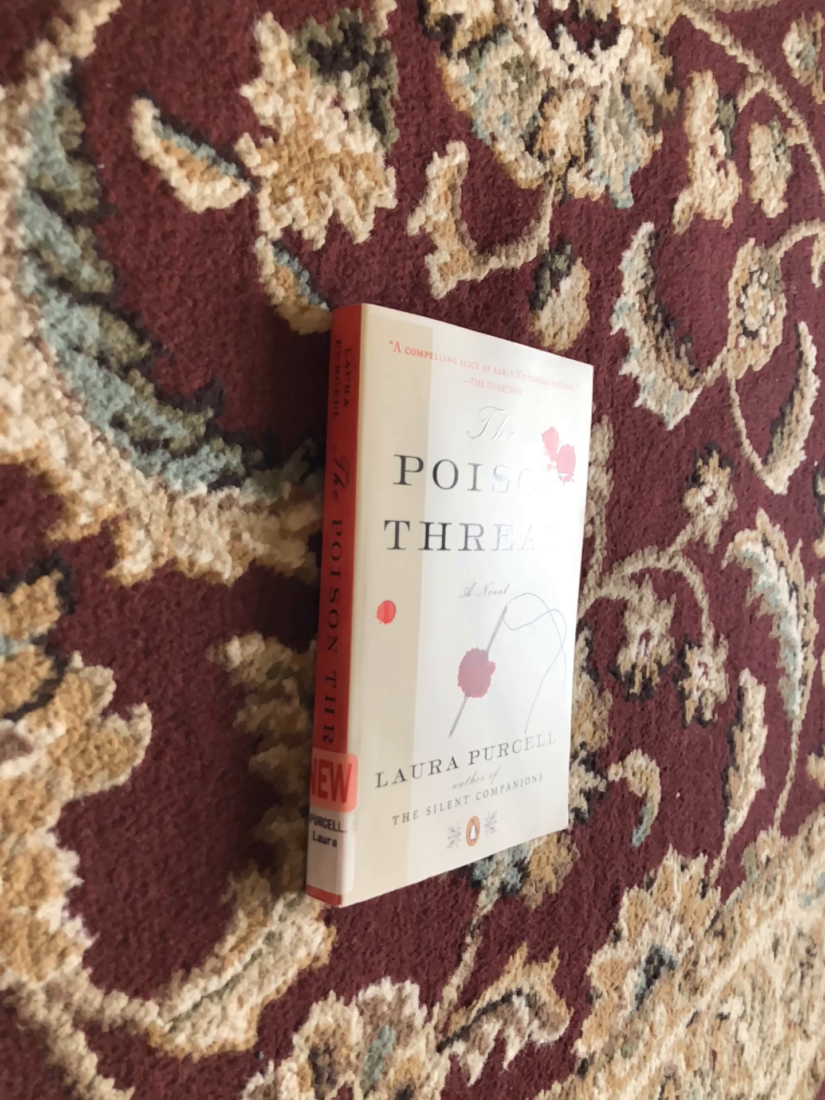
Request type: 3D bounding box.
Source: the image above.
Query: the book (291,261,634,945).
[{"bbox_3d":[0.025,0.016,0.327,0.141,0.030,0.200,0,93,-46],"label":"book"}]
